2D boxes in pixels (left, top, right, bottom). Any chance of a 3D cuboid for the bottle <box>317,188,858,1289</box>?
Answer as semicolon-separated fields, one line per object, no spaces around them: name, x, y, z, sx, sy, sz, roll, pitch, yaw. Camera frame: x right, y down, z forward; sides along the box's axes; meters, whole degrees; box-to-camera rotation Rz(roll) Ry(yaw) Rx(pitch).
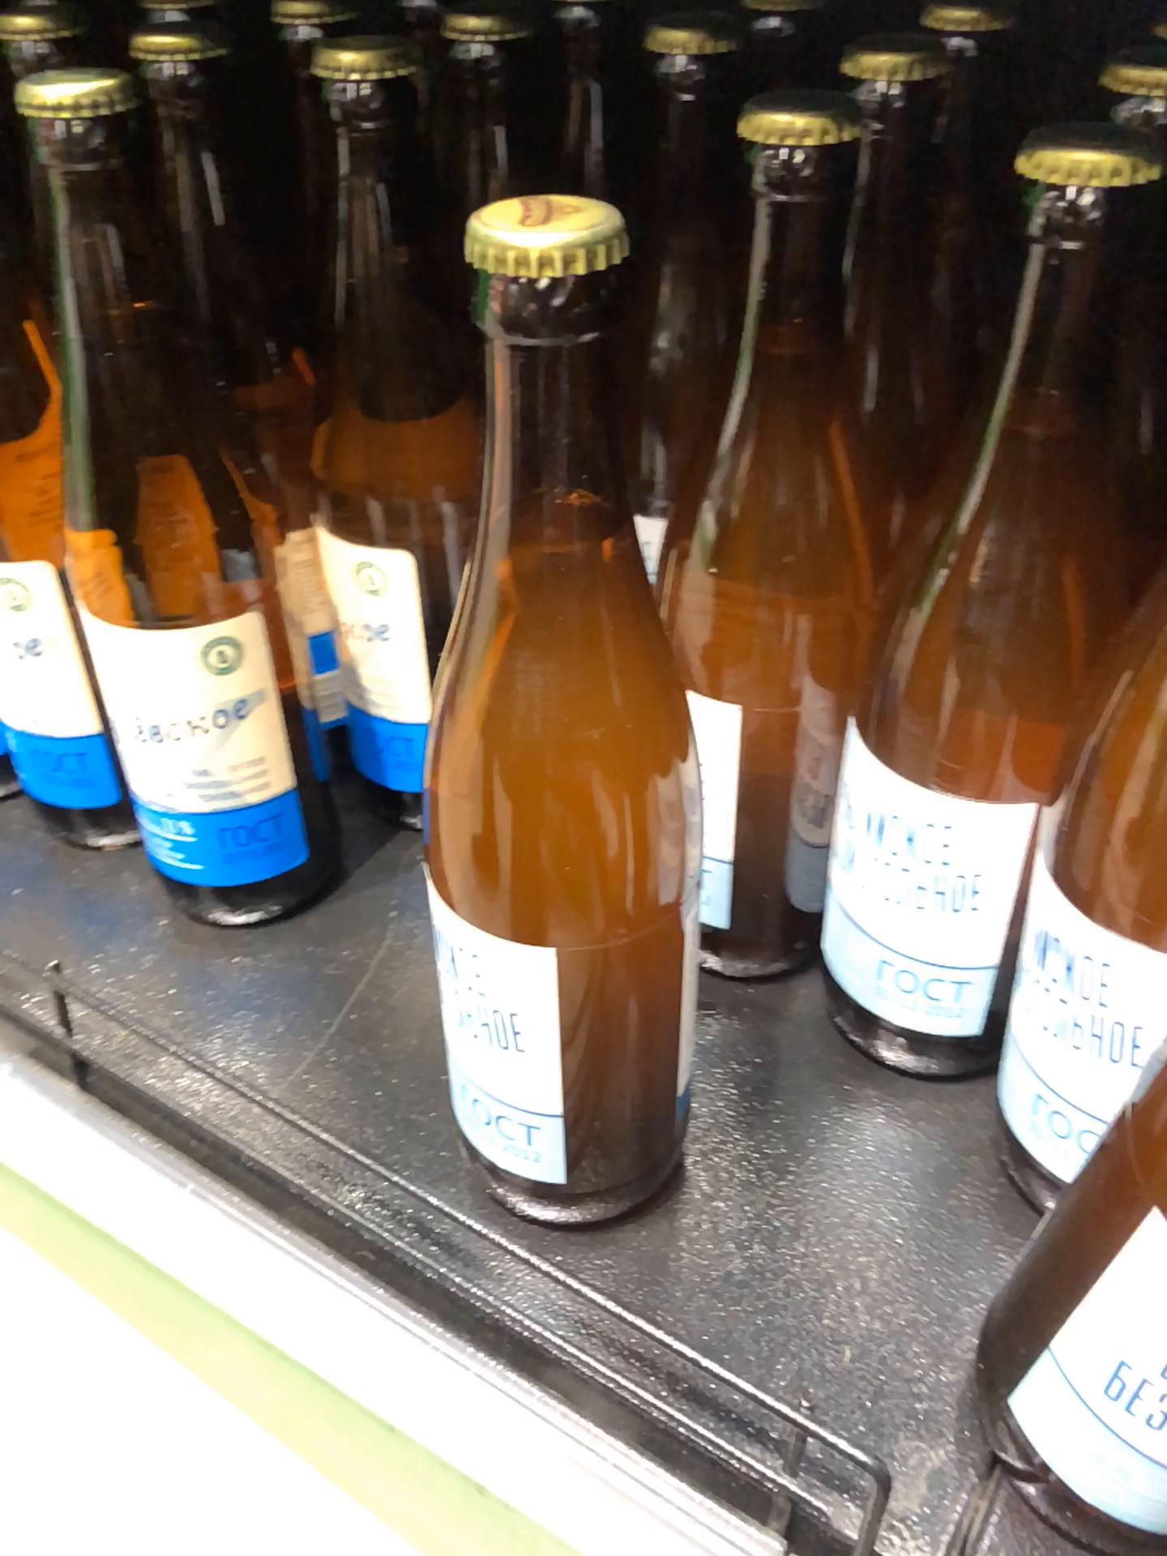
bottle;-0.003;0.008;0.309;0.080;0.254;0.080;-1;38;0
